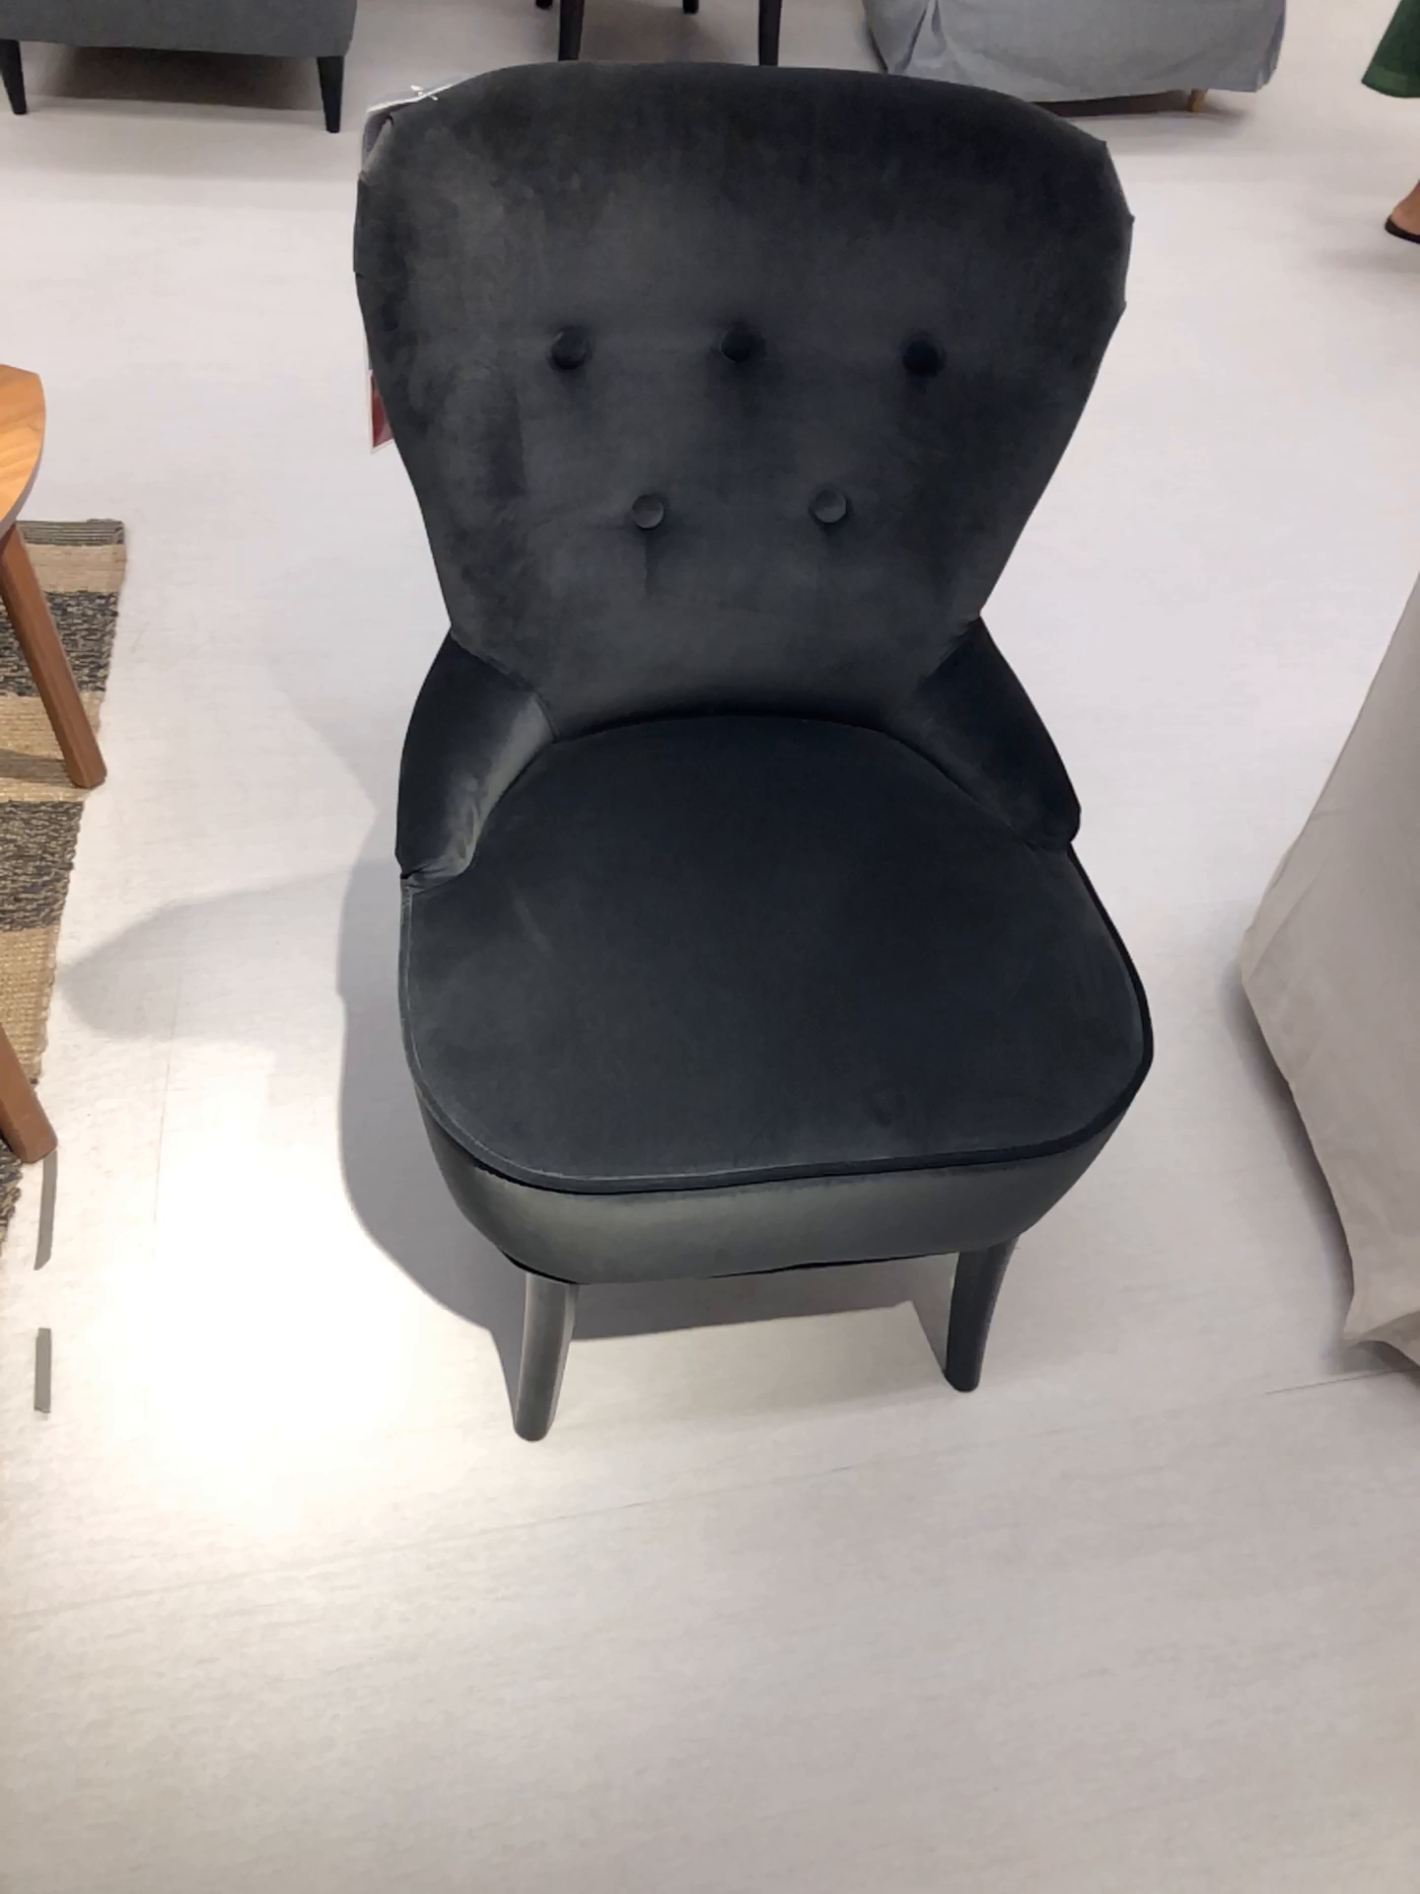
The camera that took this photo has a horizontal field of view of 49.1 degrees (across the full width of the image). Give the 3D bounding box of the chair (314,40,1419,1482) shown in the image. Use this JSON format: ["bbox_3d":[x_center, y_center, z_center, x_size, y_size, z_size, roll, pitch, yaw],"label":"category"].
[{"bbox_3d":[0.032,-0.136,1.263,0.600,0.776,0.794,-4,53,-11],"label":"chair"}]
